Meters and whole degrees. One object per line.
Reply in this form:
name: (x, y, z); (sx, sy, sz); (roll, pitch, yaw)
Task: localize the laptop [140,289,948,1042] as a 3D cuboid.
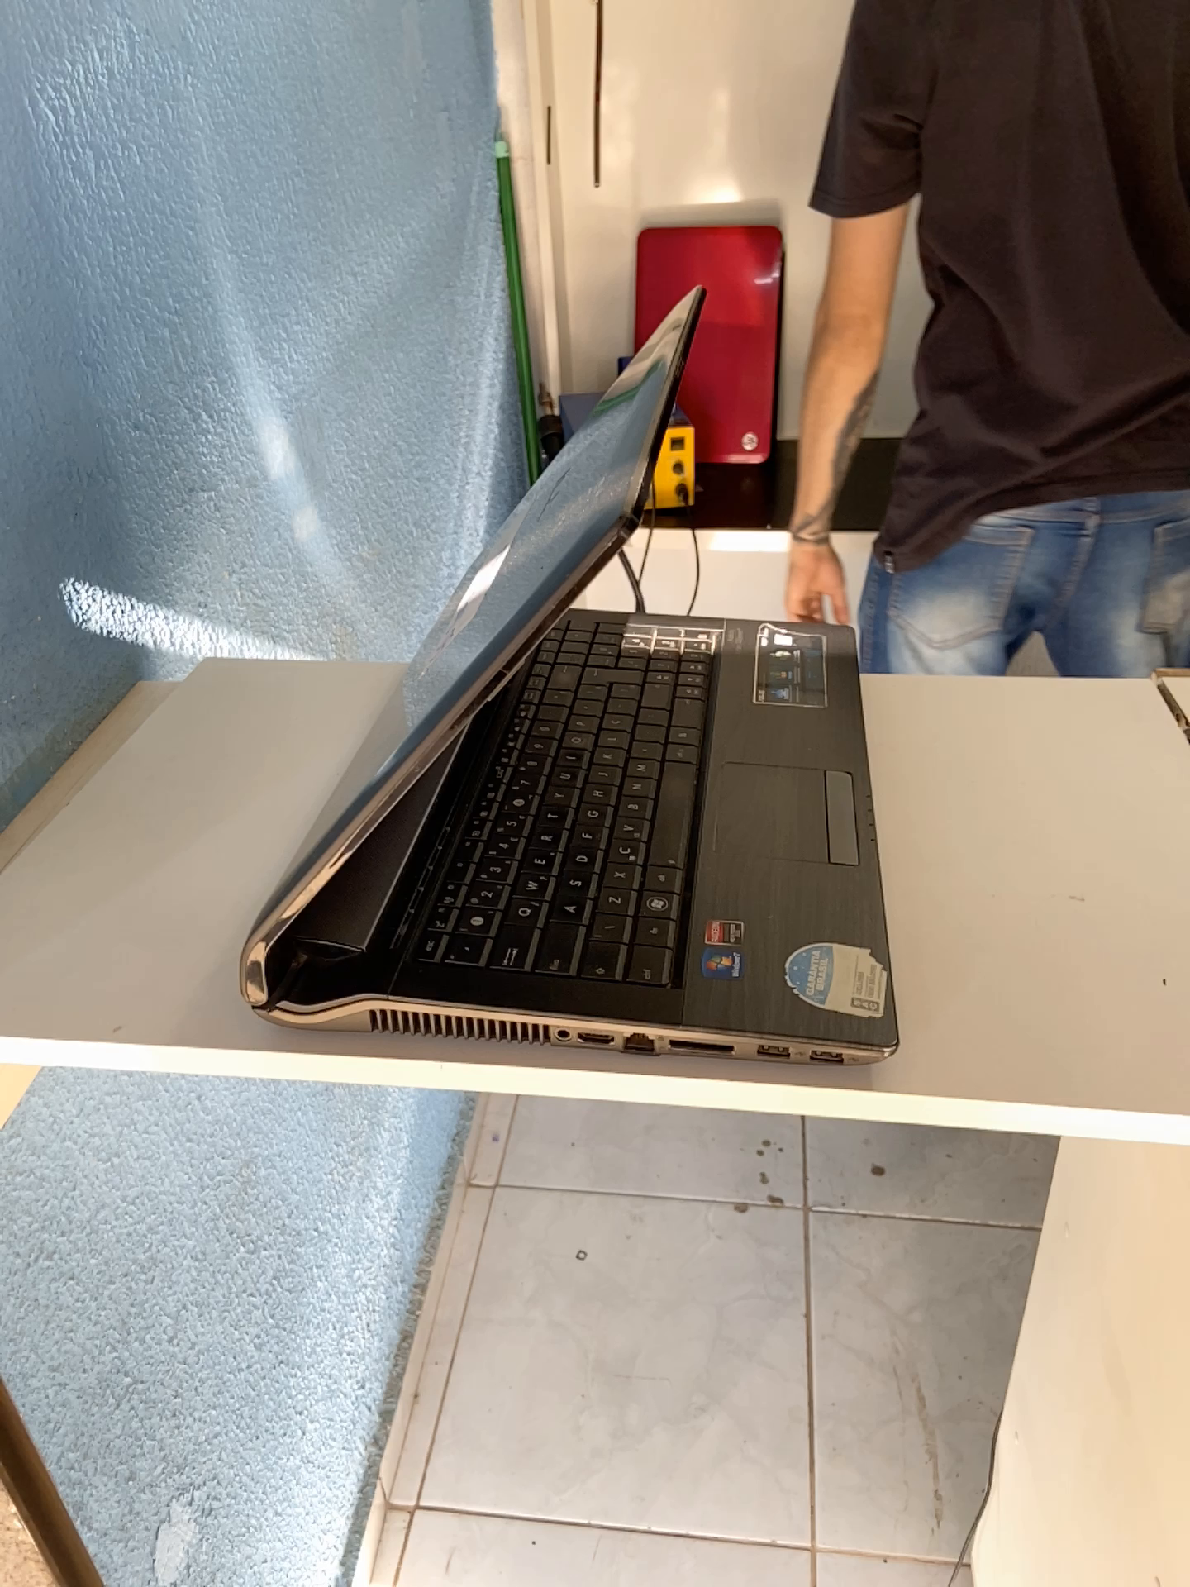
laptop: (0.008, -0.100, 0.596); (0.255, 0.208, 0.389); (2, 31, 8)
